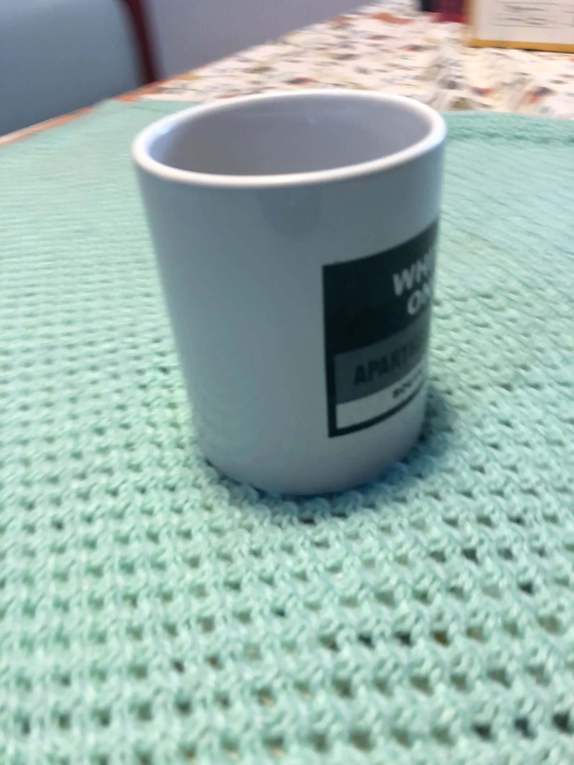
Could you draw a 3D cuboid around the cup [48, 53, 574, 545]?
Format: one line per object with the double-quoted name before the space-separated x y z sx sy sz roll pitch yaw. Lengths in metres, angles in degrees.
"cup" 0.023 -0.043 0.198 0.100 0.079 0.141 12 41 21
